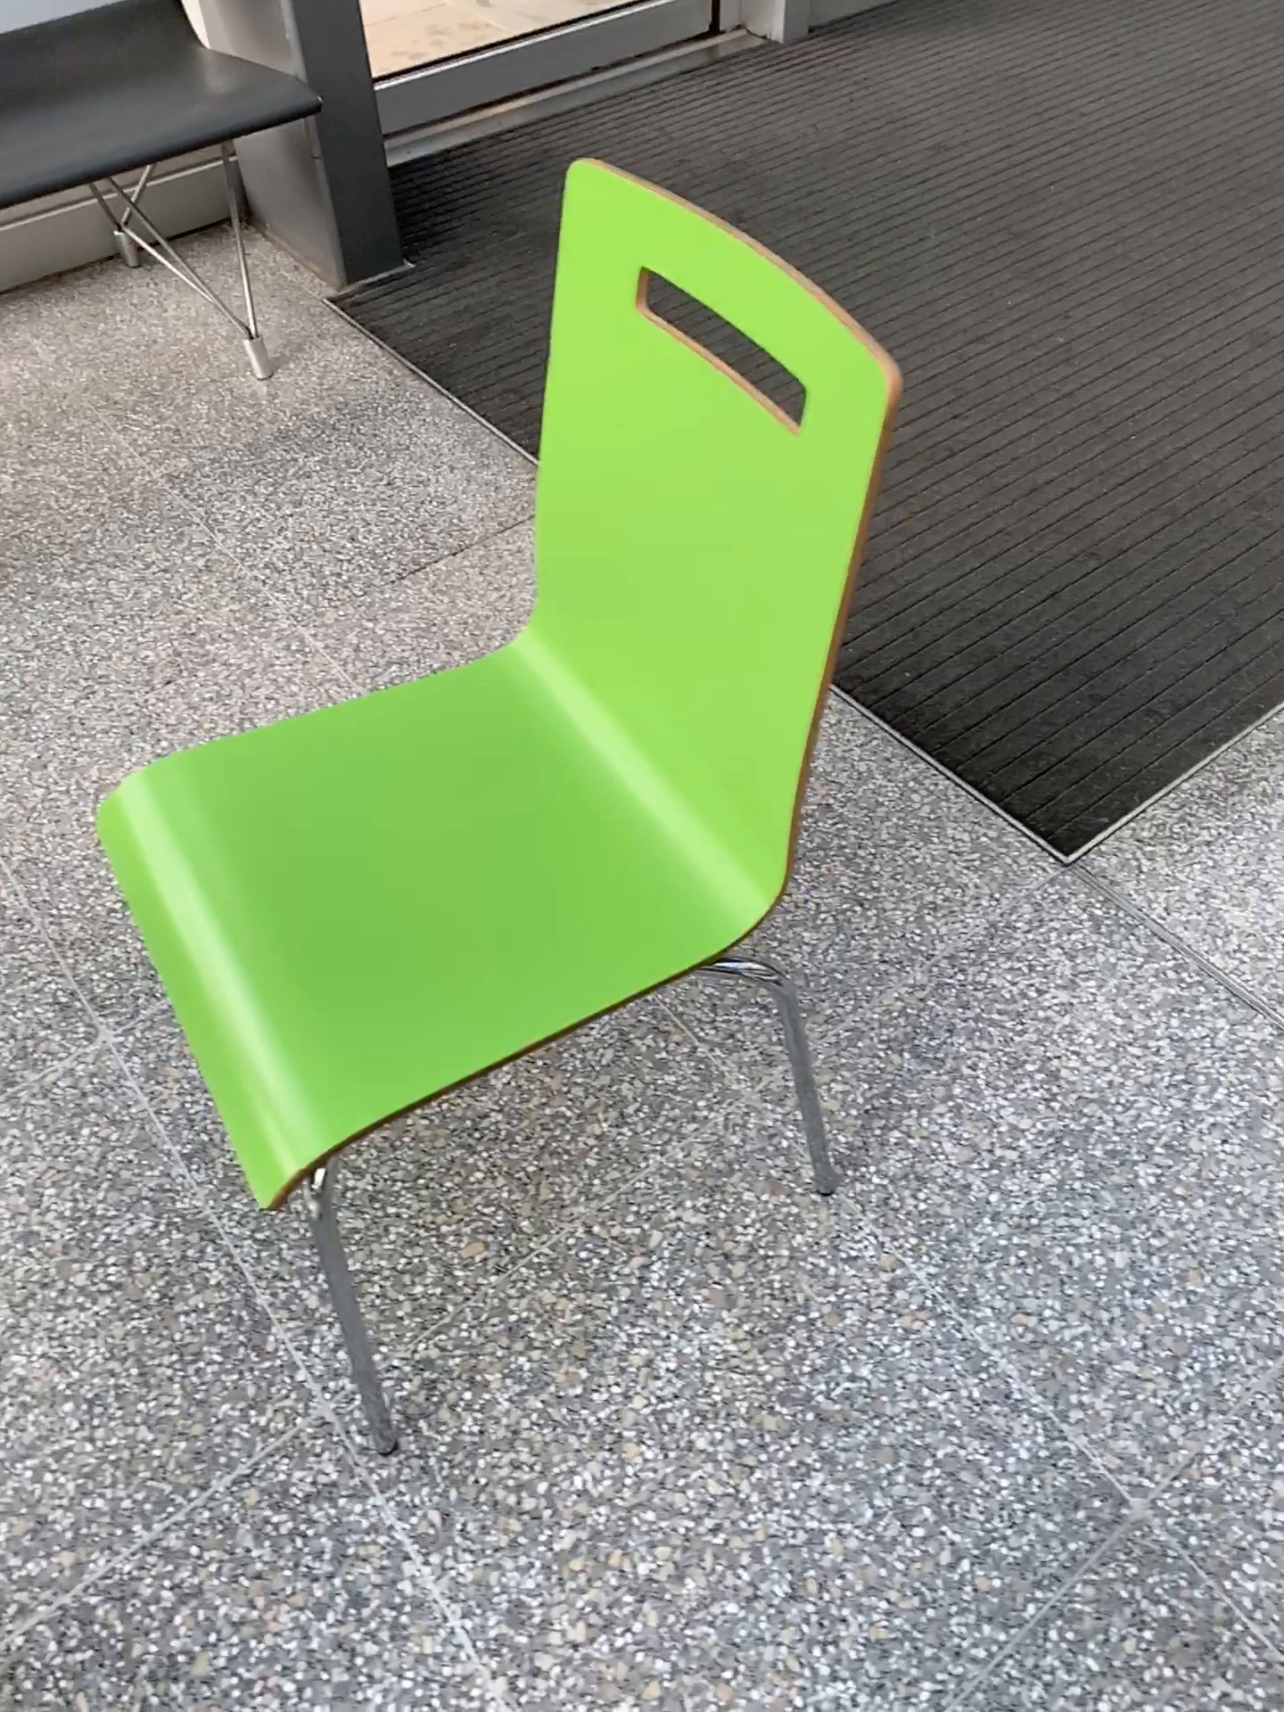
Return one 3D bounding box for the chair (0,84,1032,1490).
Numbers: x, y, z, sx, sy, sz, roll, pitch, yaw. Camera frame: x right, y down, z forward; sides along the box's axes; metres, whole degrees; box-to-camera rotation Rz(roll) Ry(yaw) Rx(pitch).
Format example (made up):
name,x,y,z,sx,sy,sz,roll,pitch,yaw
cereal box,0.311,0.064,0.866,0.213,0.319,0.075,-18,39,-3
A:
name,x,y,z,sx,sy,sz,roll,pitch,yaw
chair,-0.158,-0.017,1.039,0.531,0.833,0.543,-26,53,-19
